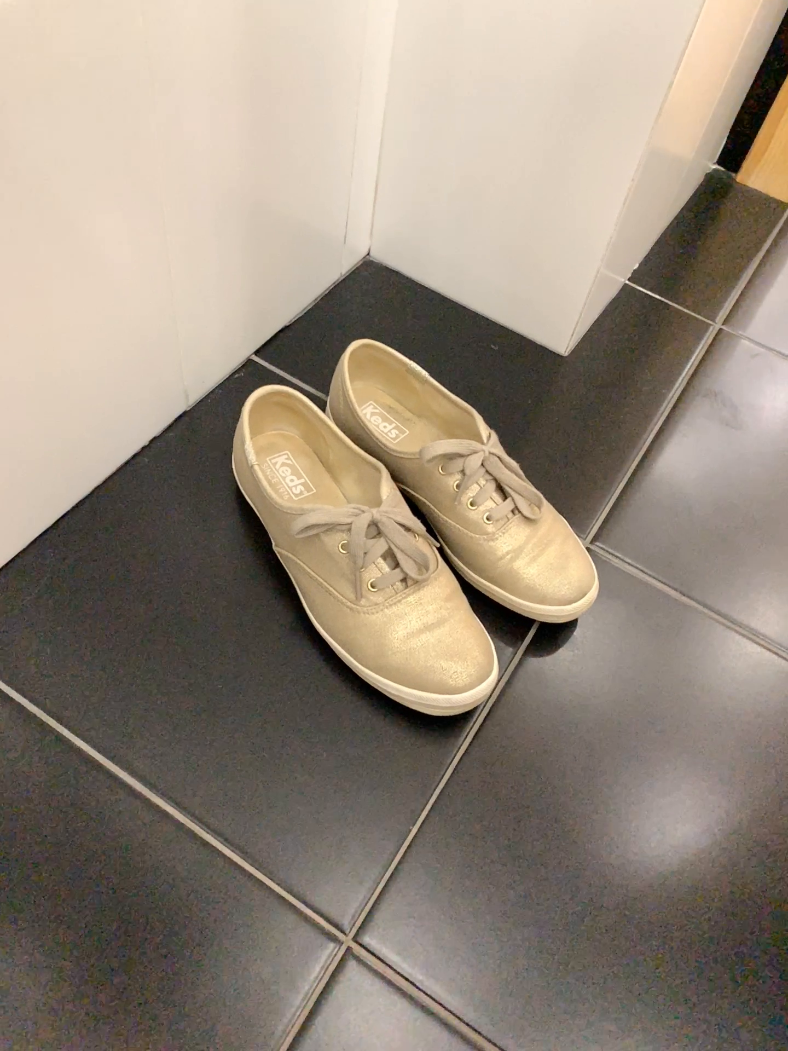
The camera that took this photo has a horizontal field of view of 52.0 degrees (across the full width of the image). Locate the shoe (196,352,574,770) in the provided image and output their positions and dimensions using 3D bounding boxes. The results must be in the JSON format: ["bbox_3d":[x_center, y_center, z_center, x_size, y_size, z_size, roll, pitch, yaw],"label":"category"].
[{"bbox_3d":[-0.018,0.015,0.495,0.090,0.100,0.230,-30,63,-28],"label":"shoe"}]

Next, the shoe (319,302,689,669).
[{"bbox_3d":[0.061,-0.033,0.546,0.090,0.100,0.230,-34,65,-29],"label":"shoe"}]
